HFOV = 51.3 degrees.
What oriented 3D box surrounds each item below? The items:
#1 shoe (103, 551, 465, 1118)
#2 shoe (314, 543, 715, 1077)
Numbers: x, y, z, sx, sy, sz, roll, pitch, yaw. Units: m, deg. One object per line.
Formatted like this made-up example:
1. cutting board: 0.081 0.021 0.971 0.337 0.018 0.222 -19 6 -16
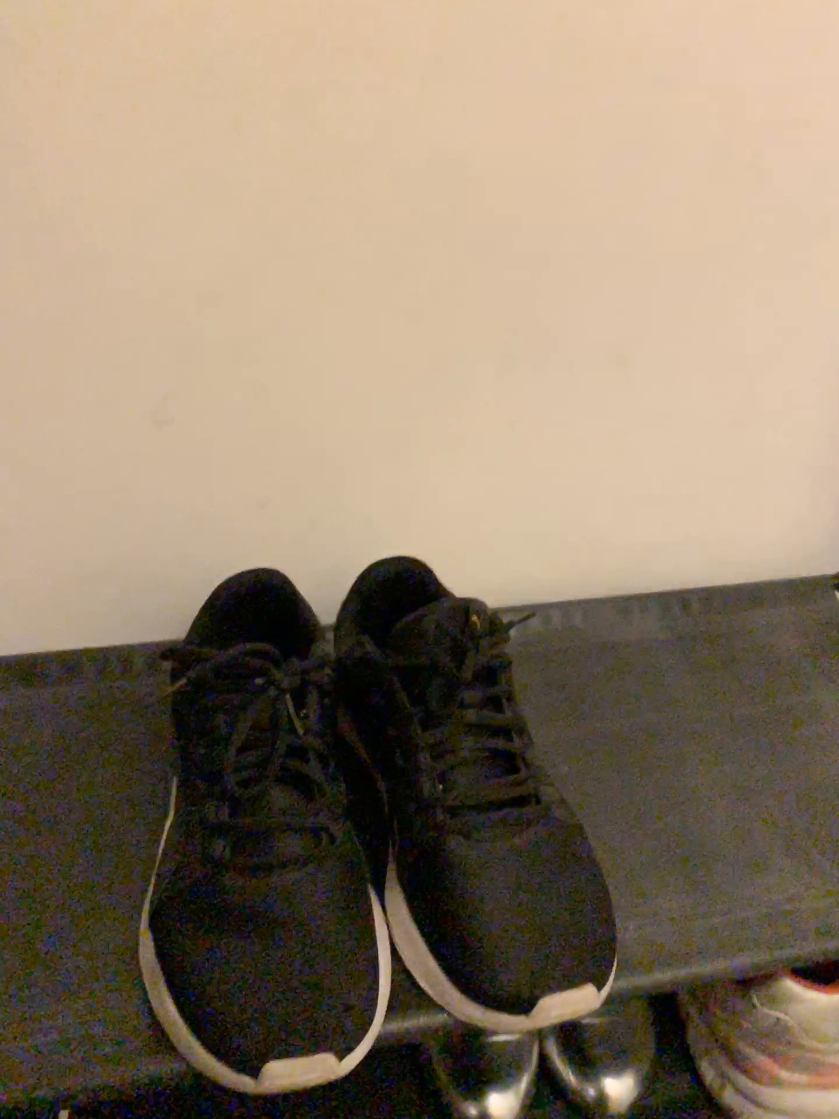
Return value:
1. shoe: -0.070 0.102 0.389 0.110 0.089 0.242 -5 33 -13
2. shoe: 0.022 0.093 0.434 0.110 0.069 0.262 -5 33 -13
